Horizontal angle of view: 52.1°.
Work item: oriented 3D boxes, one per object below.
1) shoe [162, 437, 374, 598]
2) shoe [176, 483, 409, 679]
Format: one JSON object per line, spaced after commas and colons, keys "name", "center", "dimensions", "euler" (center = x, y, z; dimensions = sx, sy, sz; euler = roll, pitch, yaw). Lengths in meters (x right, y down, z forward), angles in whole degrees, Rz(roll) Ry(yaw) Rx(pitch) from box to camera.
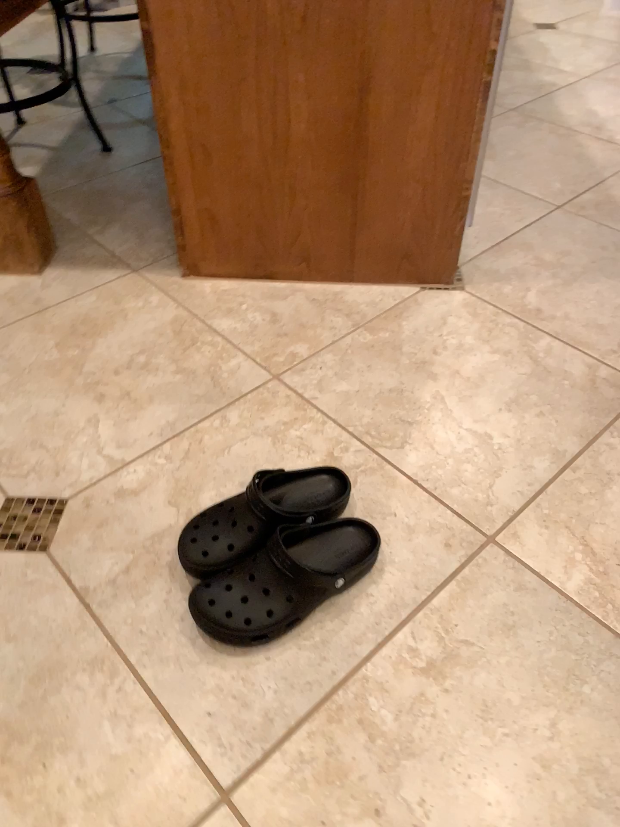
{"name": "shoe", "center": [-0.059, 0.146, 0.932], "dimensions": [0.278, 0.085, 0.114], "euler": [-19, 48, -17]}
{"name": "shoe", "center": [-0.020, 0.217, 0.857], "dimensions": [0.278, 0.085, 0.124], "euler": [-22, 49, -20]}
